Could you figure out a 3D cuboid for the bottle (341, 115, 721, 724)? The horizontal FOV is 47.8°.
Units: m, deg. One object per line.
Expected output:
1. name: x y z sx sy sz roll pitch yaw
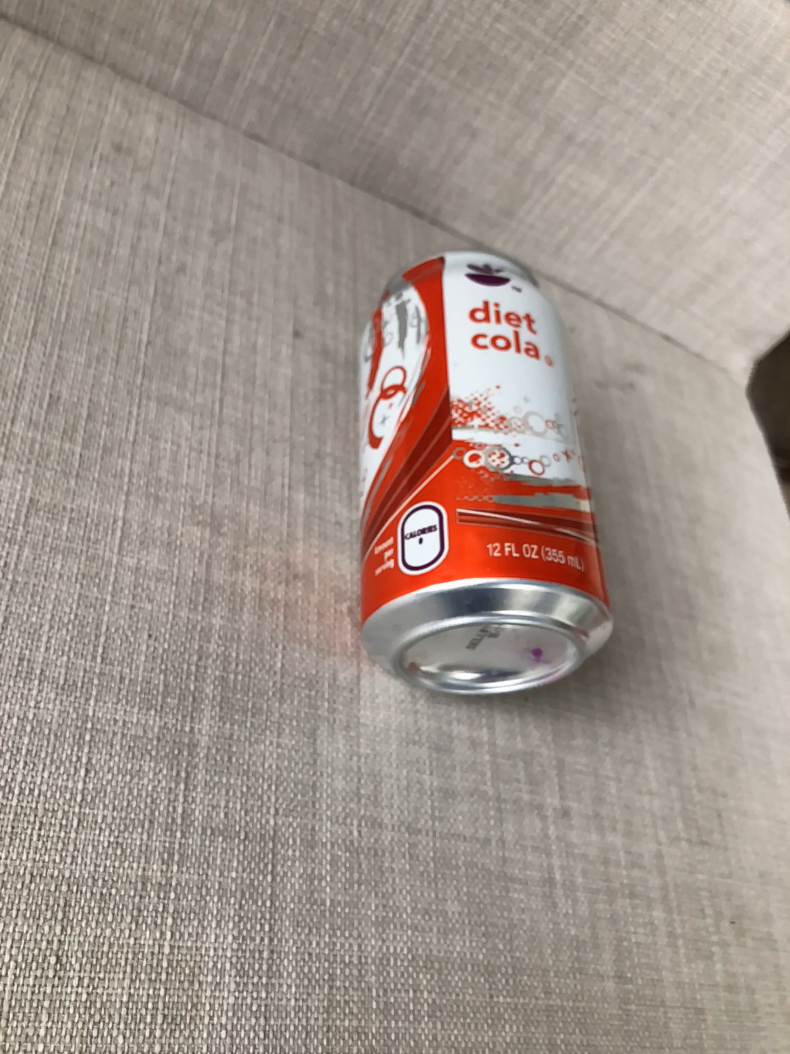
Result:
1. bottle: 0.032 -0.029 0.256 0.070 0.062 0.150 16 58 -29
